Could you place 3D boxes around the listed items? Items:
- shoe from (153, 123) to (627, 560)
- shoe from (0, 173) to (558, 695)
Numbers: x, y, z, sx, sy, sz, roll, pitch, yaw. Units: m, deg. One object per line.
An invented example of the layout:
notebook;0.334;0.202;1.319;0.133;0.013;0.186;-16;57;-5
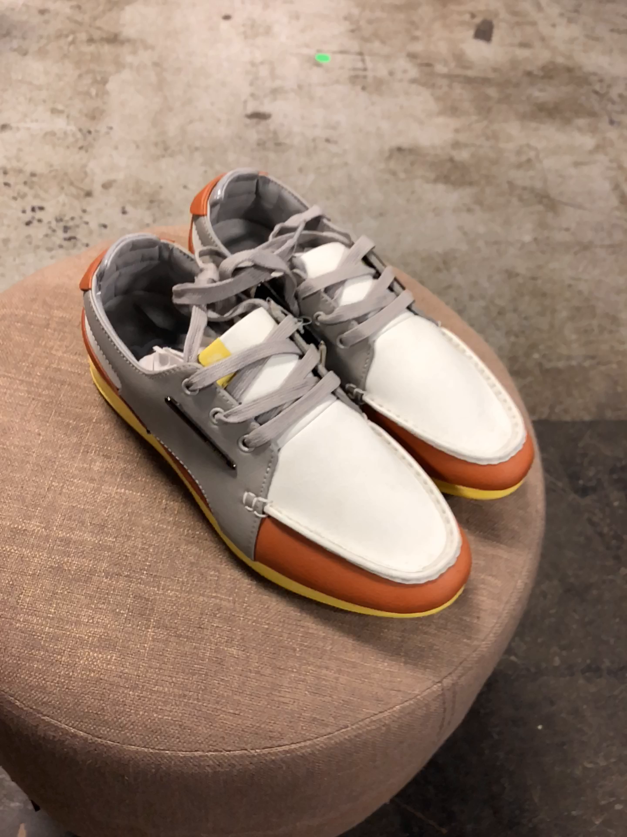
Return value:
shoe;0.032;-0.054;0.406;0.251;0.099;0.100;38;57;19
shoe;-0.033;-0.004;0.373;0.281;0.099;0.100;38;57;19
